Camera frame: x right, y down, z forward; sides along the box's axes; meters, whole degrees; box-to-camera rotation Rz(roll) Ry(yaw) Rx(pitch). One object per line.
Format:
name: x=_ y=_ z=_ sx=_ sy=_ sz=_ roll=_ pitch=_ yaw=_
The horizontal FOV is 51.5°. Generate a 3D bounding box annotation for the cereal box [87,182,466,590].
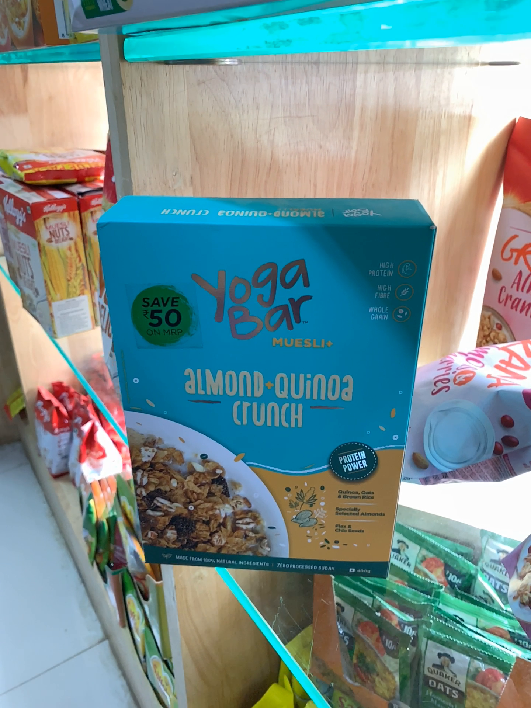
cereal box: x=0.005 y=0.023 z=0.307 sx=0.160 sy=0.218 sz=0.060 roll=2 pitch=26 yaw=4
